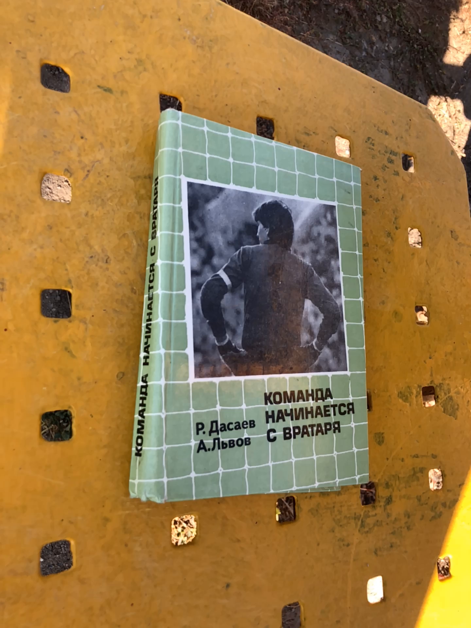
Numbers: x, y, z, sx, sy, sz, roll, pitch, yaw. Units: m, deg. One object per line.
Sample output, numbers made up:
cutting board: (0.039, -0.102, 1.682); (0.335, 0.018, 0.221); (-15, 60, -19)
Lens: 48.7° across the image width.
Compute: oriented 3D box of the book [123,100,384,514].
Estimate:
book: (0.013, -0.001, 0.244); (0.118, 0.030, 0.164); (6, 79, -29)
